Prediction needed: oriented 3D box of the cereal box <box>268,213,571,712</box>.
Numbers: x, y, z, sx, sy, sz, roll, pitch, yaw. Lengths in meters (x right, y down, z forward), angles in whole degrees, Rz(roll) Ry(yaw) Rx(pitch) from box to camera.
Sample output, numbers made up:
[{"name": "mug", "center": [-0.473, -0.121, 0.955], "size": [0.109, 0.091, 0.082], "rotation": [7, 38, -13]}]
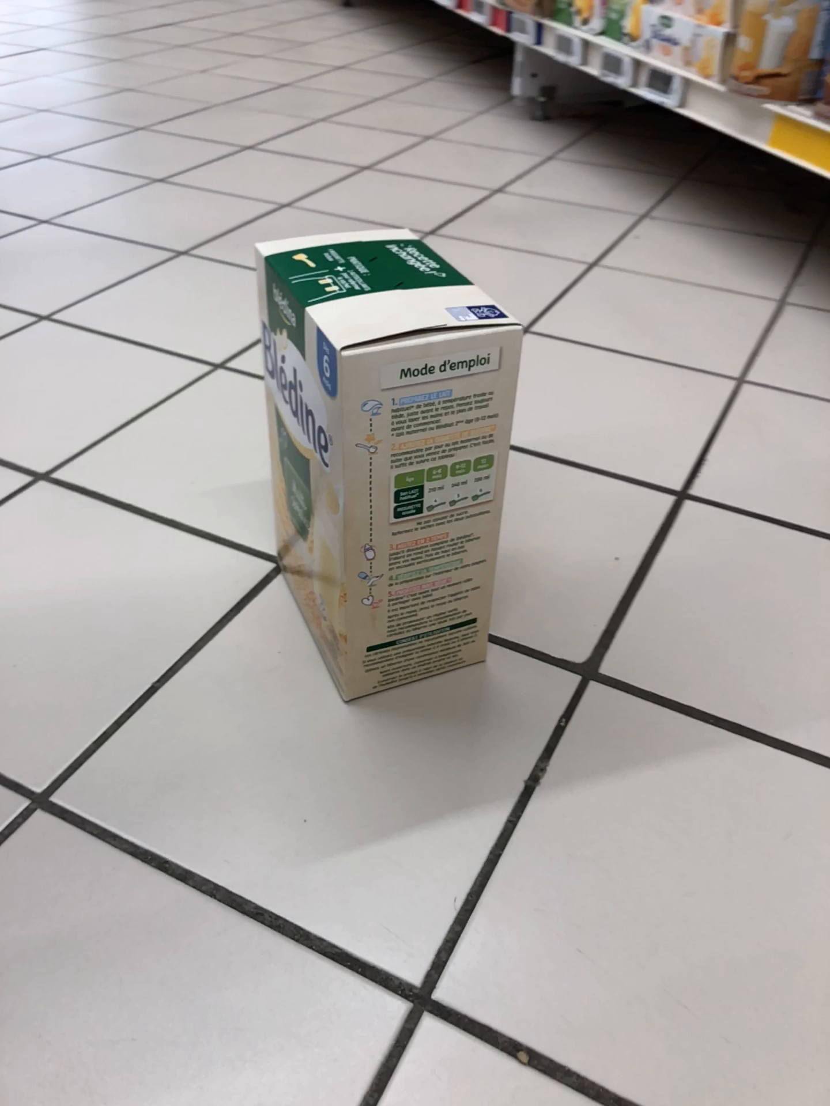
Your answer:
[{"name": "cereal box", "center": [-0.007, -0.046, 0.461], "size": [0.090, 0.199, 0.130], "rotation": [-12, 40, -19]}]
